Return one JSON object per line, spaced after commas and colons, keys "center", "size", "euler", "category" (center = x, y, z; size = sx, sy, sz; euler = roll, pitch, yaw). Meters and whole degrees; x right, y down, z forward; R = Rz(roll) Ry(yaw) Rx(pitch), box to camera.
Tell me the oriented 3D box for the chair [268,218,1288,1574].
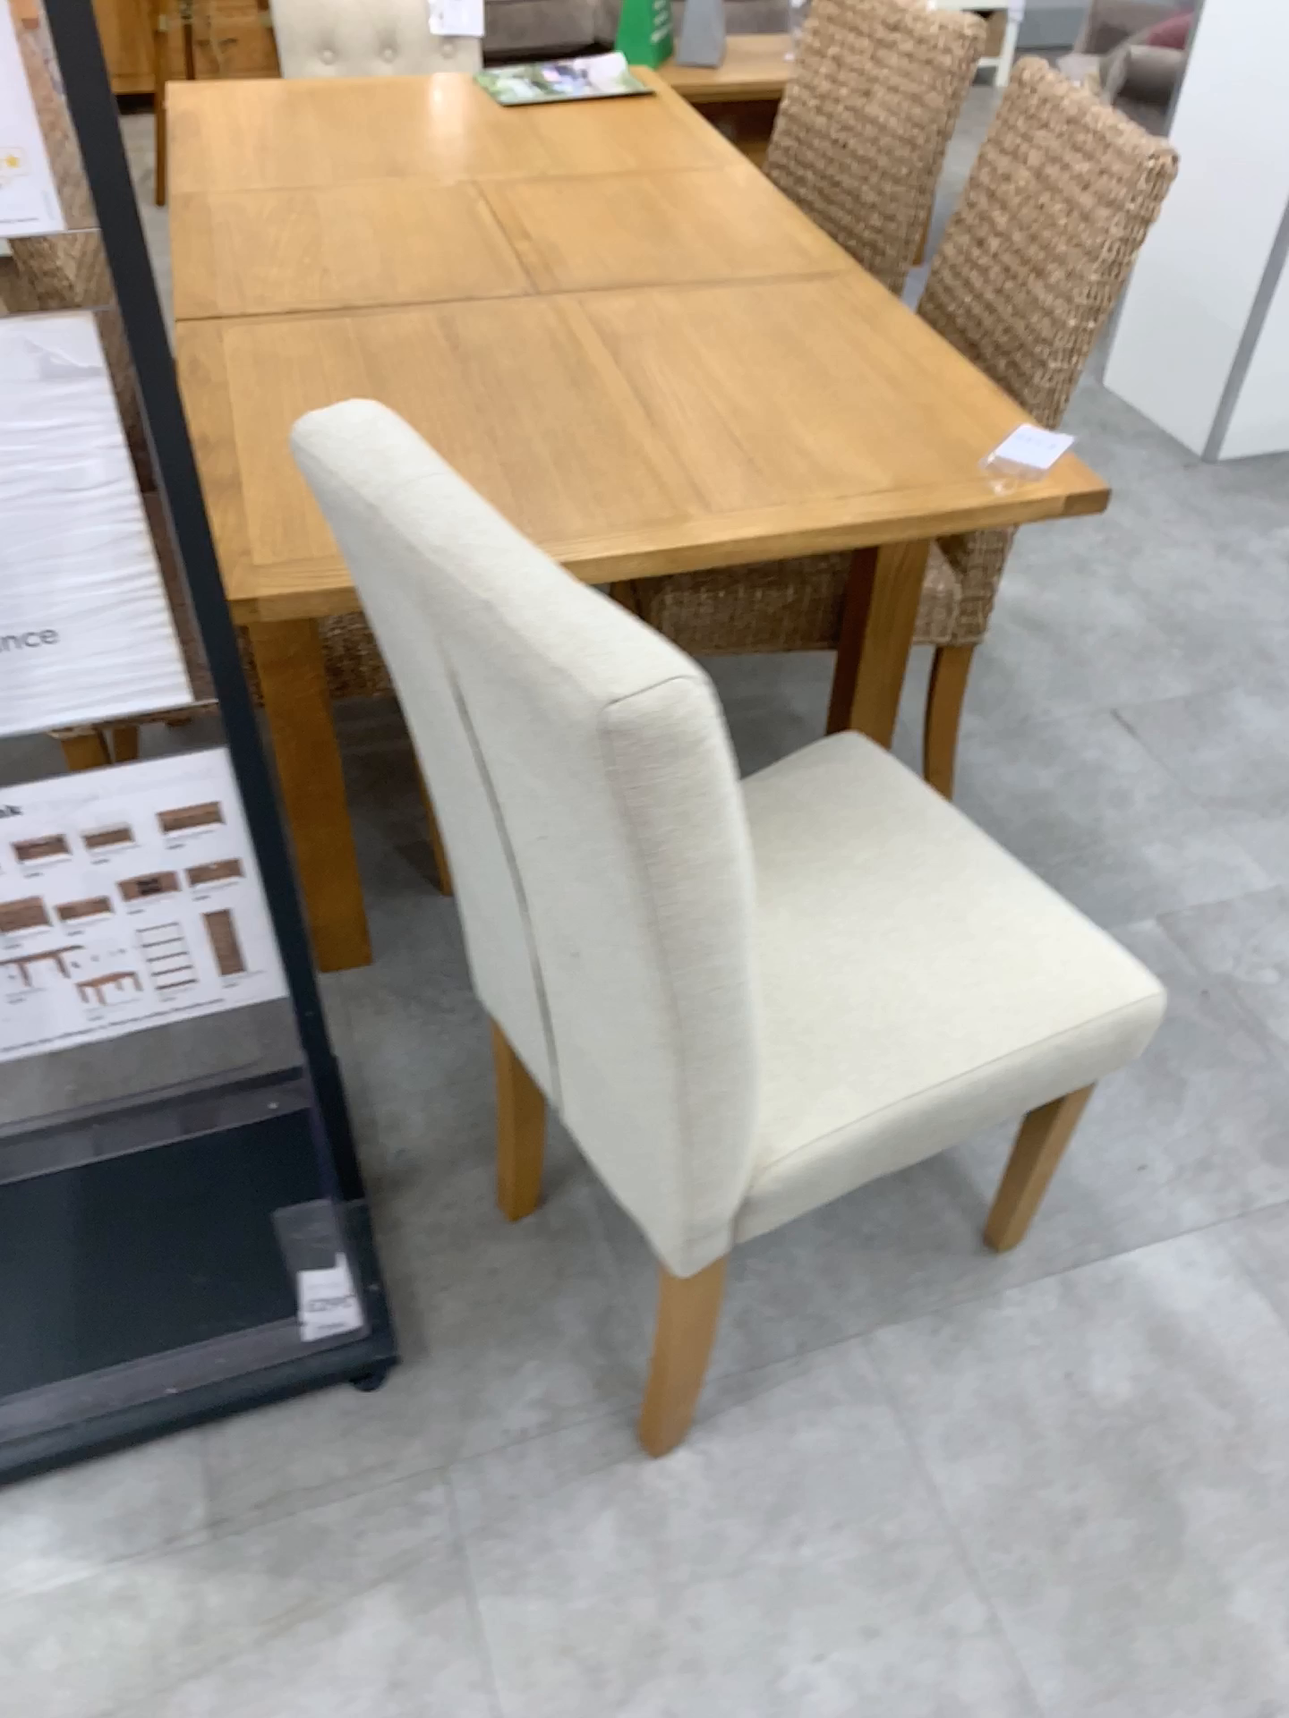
{"center": [0.140, 0.051, 1.083], "size": [0.612, 0.872, 0.423], "euler": [-25, 49, -26], "category": "chair"}
